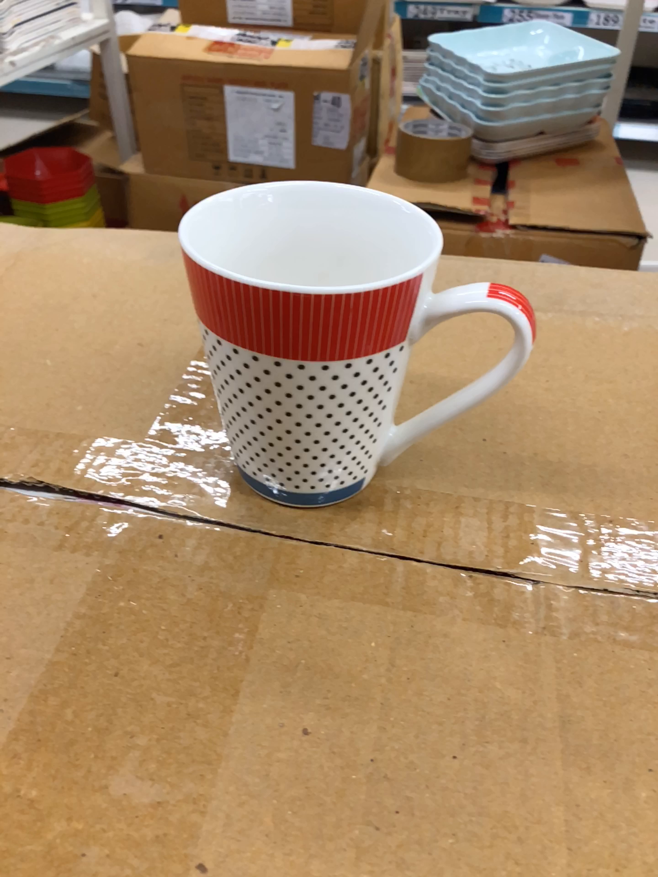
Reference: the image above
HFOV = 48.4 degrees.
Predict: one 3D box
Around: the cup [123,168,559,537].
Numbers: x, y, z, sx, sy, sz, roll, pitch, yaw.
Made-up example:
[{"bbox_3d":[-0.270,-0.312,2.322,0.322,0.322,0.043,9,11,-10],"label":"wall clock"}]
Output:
[{"bbox_3d":[0.007,-0.034,0.263,0.120,0.089,0.091,5,39,5],"label":"cup"}]
